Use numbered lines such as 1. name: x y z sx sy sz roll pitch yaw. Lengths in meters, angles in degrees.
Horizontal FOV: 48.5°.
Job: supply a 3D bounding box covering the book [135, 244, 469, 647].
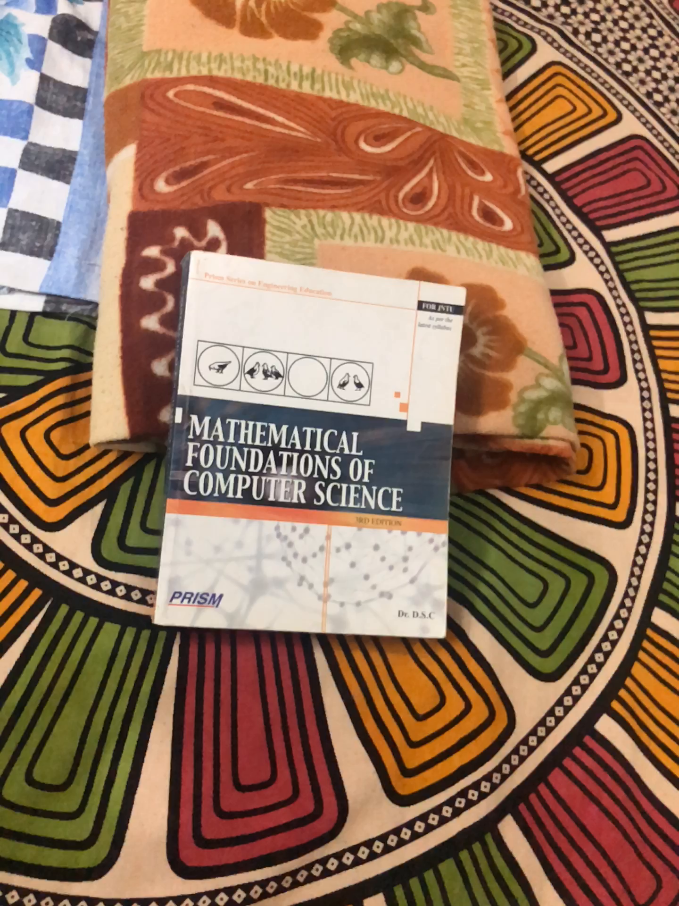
1. book: -0.022 0.000 0.484 0.190 0.050 0.230 5 85 -13
